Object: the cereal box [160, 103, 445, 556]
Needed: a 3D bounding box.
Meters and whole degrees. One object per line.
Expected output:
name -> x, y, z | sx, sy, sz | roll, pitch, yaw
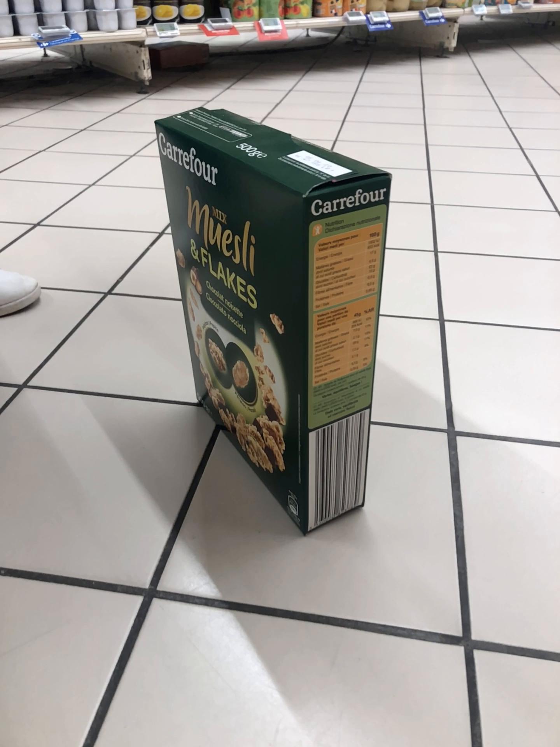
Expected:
cereal box -> 0.005, -0.038, 0.440 | 0.080, 0.248, 0.201 | -19, 38, -22
